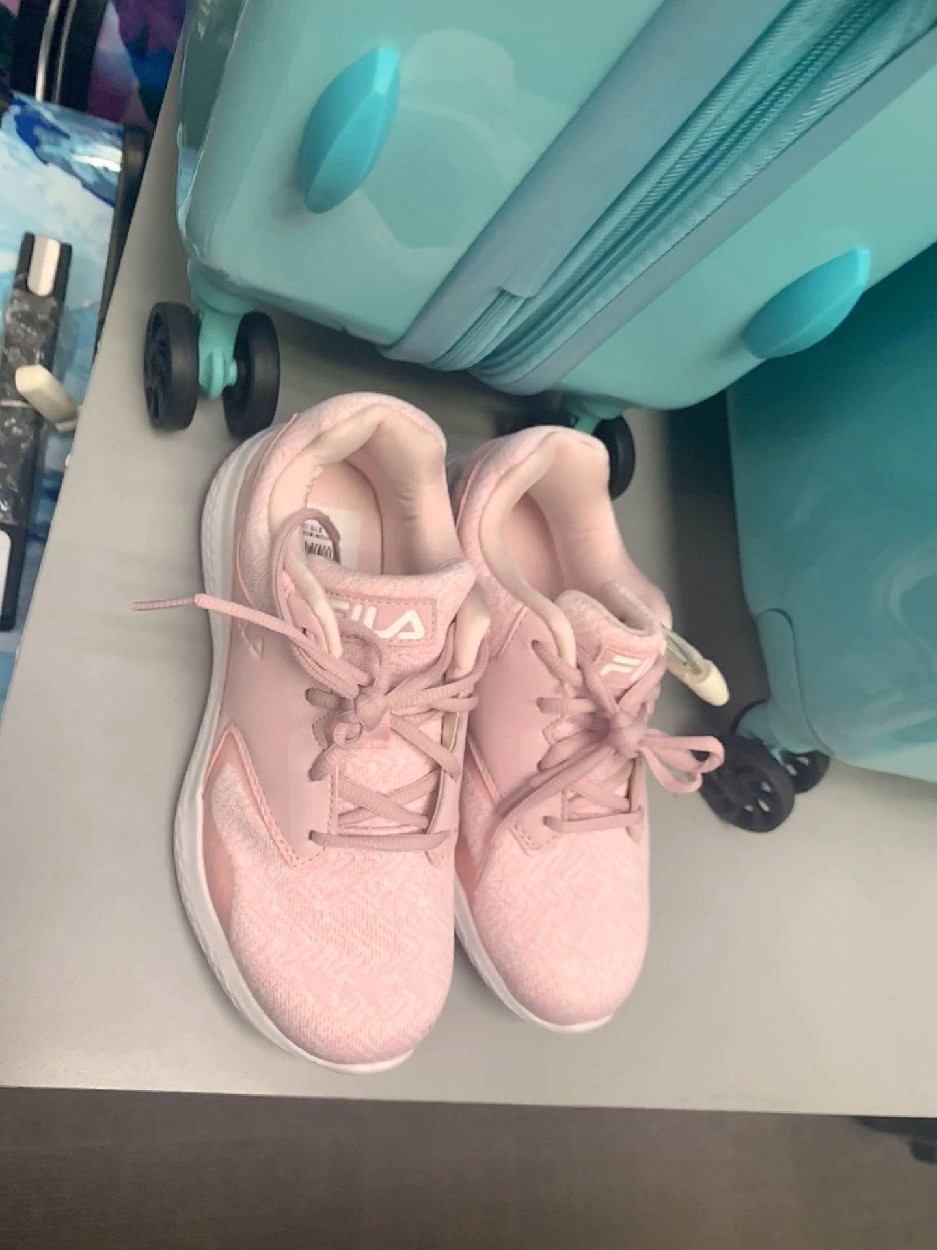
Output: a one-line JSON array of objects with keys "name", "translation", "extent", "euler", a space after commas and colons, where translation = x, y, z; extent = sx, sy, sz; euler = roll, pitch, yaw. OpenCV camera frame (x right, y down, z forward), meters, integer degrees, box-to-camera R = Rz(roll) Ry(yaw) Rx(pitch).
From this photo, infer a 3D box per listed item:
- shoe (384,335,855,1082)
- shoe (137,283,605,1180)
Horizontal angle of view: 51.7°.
[{"name": "shoe", "translation": [0.048, 0.031, 0.387], "extent": [0.108, 0.104, 0.250], "euler": [1, 73, -28]}, {"name": "shoe", "translation": [-0.046, 0.030, 0.336], "extent": [0.108, 0.104, 0.250], "euler": [1, 73, -28]}]
